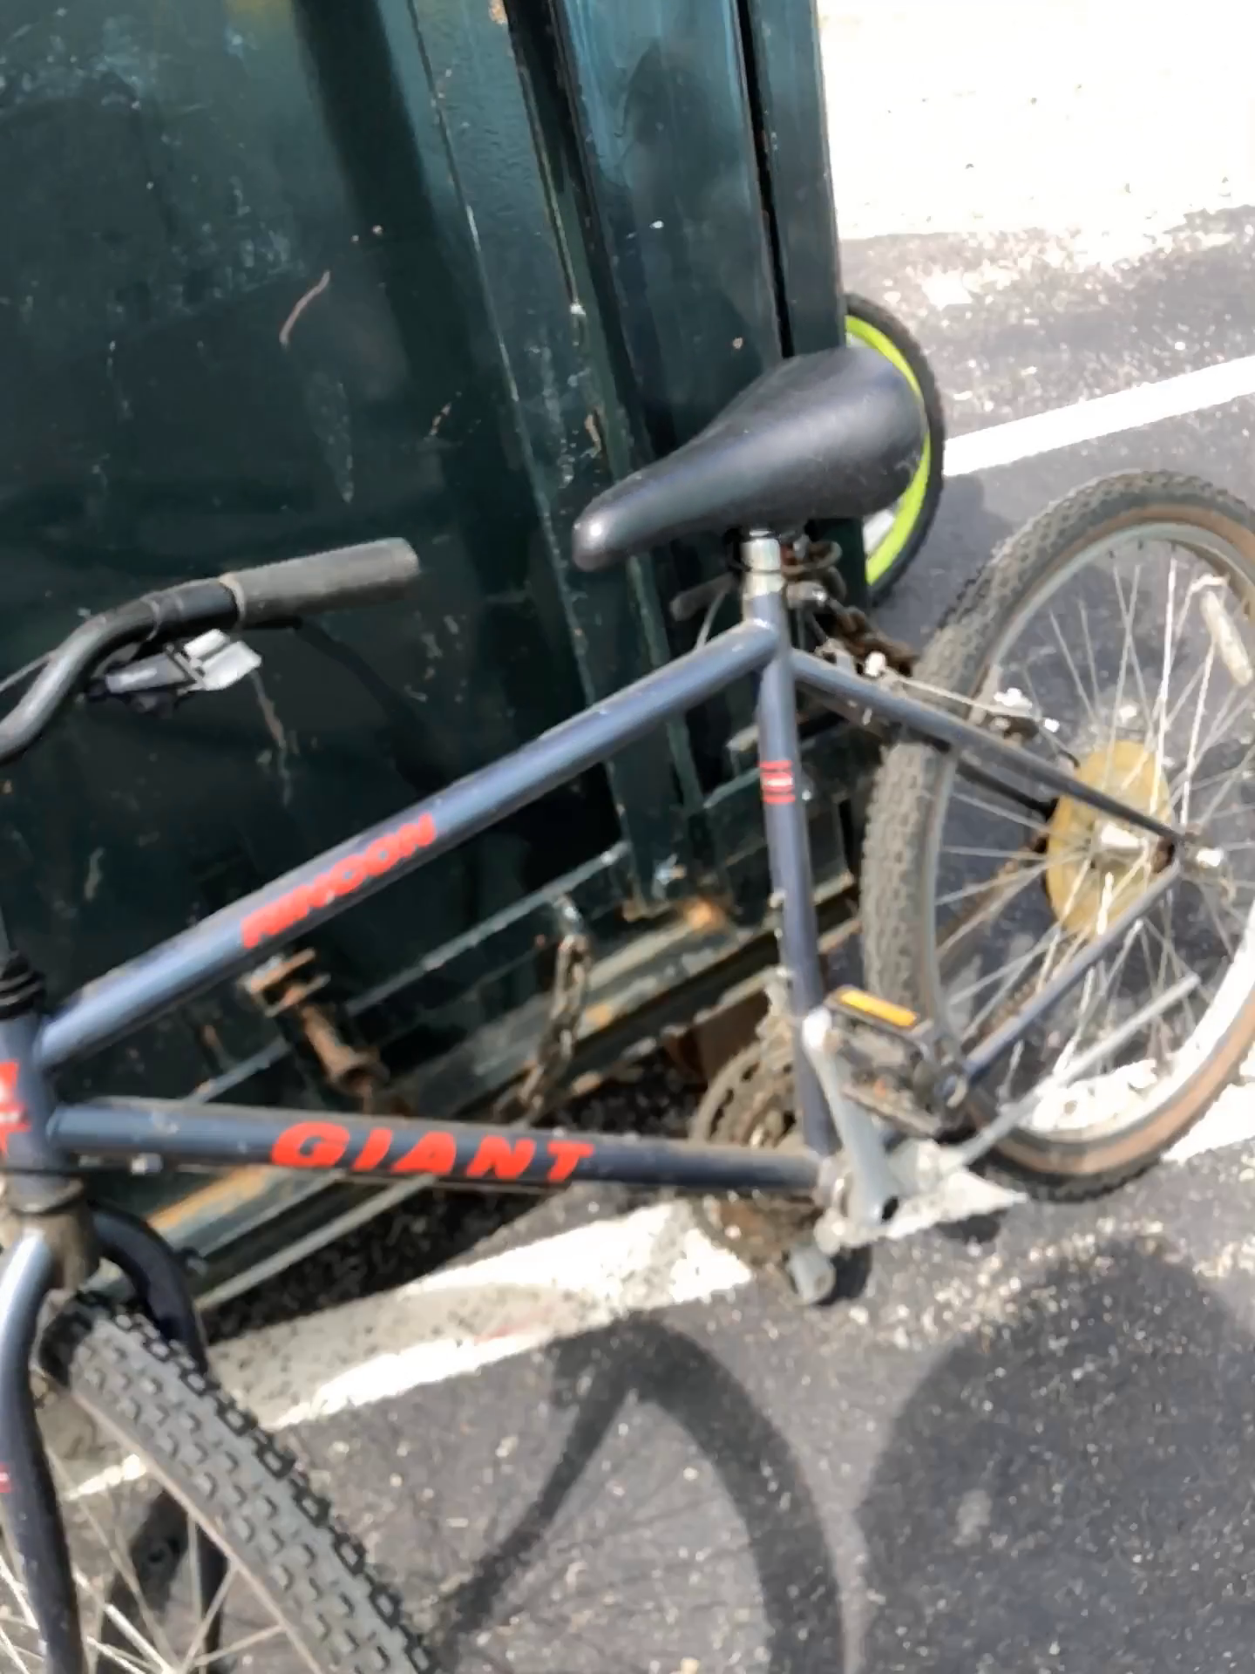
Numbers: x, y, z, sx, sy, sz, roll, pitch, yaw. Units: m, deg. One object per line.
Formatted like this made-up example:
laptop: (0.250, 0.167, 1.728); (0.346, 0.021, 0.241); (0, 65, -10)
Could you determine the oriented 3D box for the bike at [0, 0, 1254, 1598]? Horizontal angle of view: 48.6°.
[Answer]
bike: (-0.218, -0.059, 1.087); (1.098, 0.832, 0.638); (-24, 45, -14)
